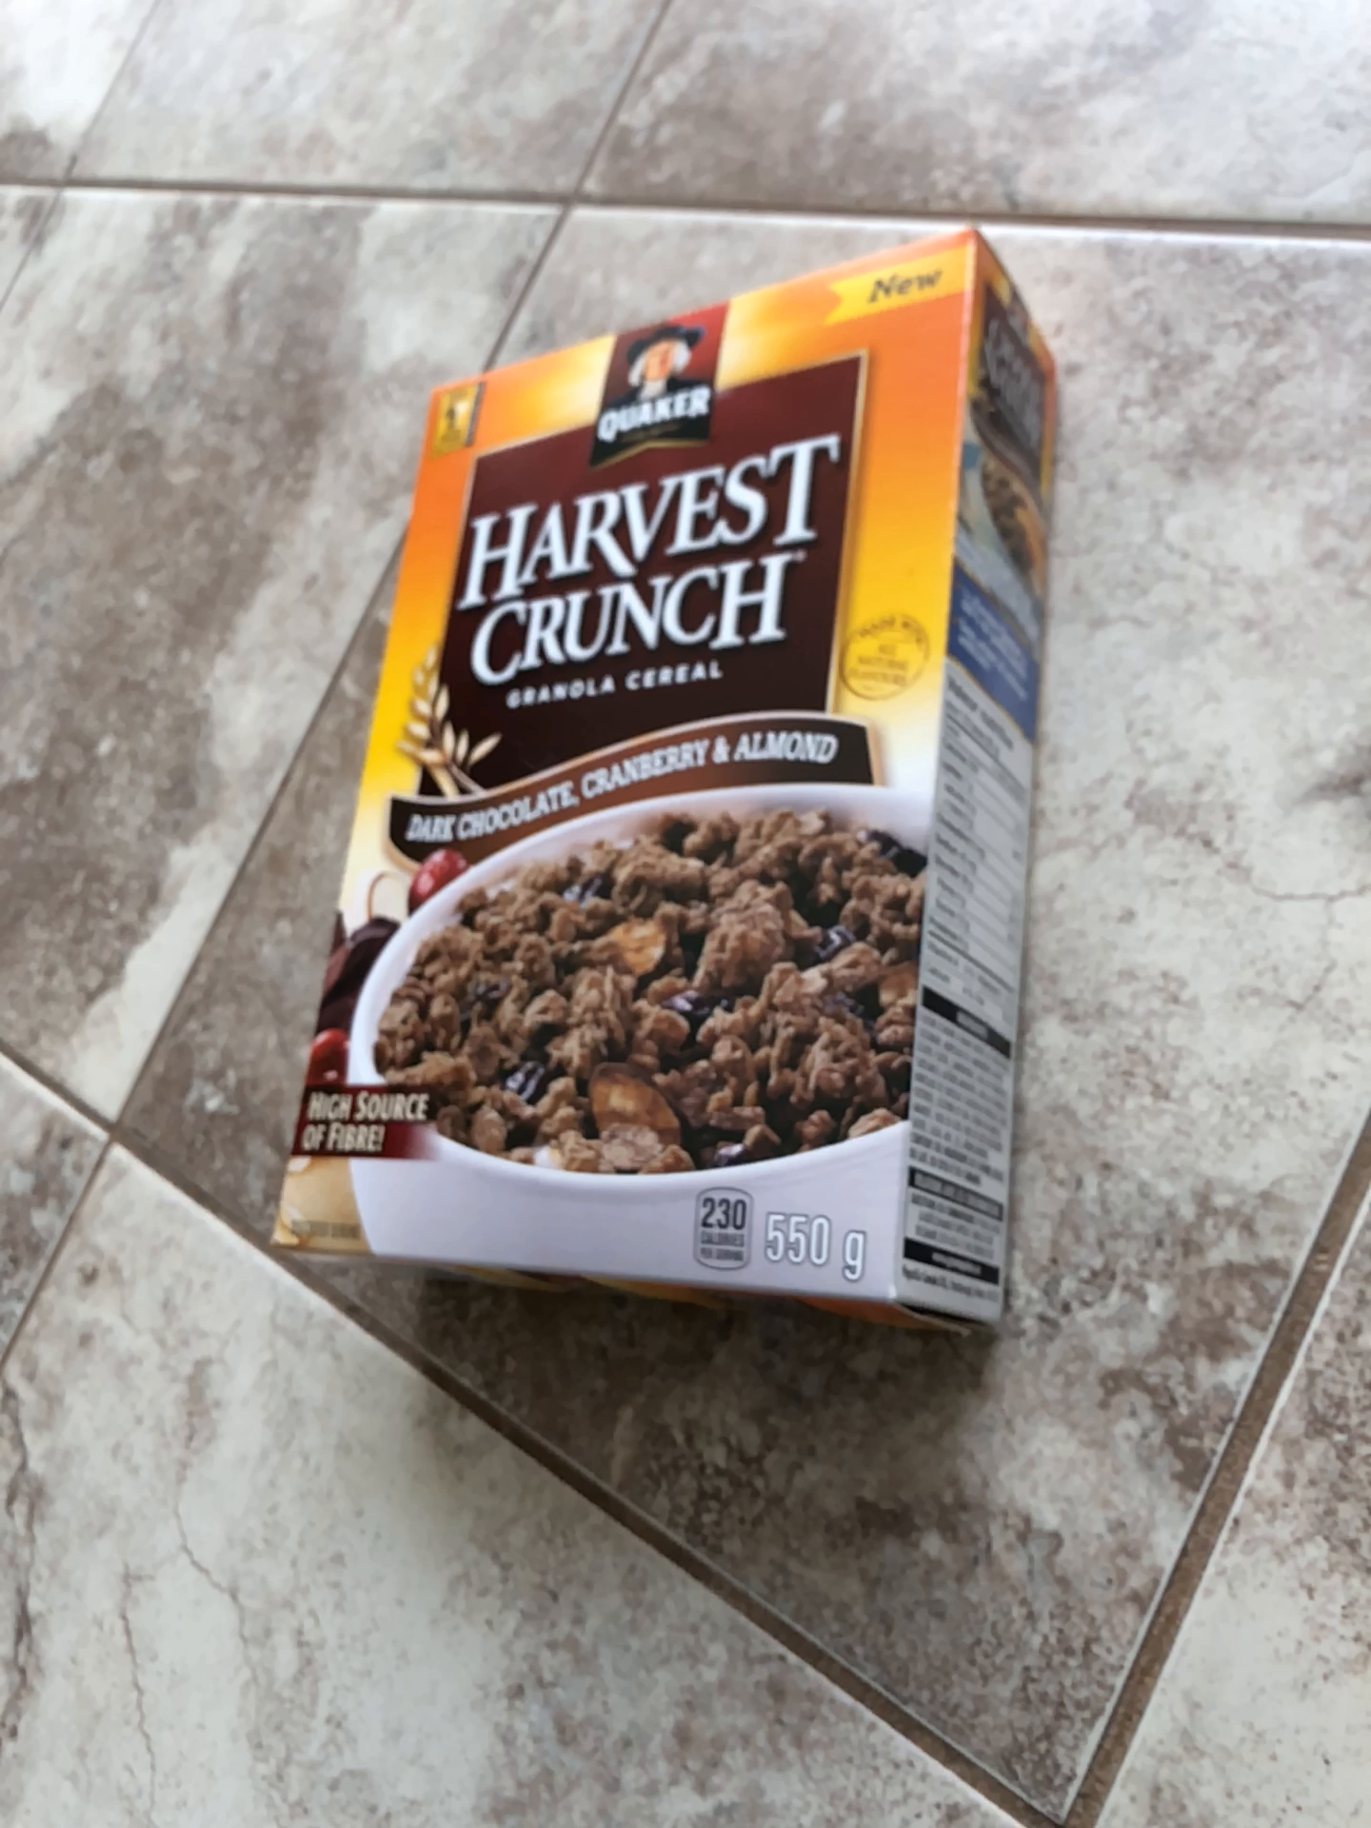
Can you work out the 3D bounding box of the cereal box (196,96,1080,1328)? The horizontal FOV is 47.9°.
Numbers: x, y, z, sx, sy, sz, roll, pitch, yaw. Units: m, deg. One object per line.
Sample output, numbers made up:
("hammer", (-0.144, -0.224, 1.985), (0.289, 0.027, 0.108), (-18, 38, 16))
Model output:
("cereal box", (-0.006, -0.040, 0.367), (0.171, 0.070, 0.250), (-4, 70, 32))
